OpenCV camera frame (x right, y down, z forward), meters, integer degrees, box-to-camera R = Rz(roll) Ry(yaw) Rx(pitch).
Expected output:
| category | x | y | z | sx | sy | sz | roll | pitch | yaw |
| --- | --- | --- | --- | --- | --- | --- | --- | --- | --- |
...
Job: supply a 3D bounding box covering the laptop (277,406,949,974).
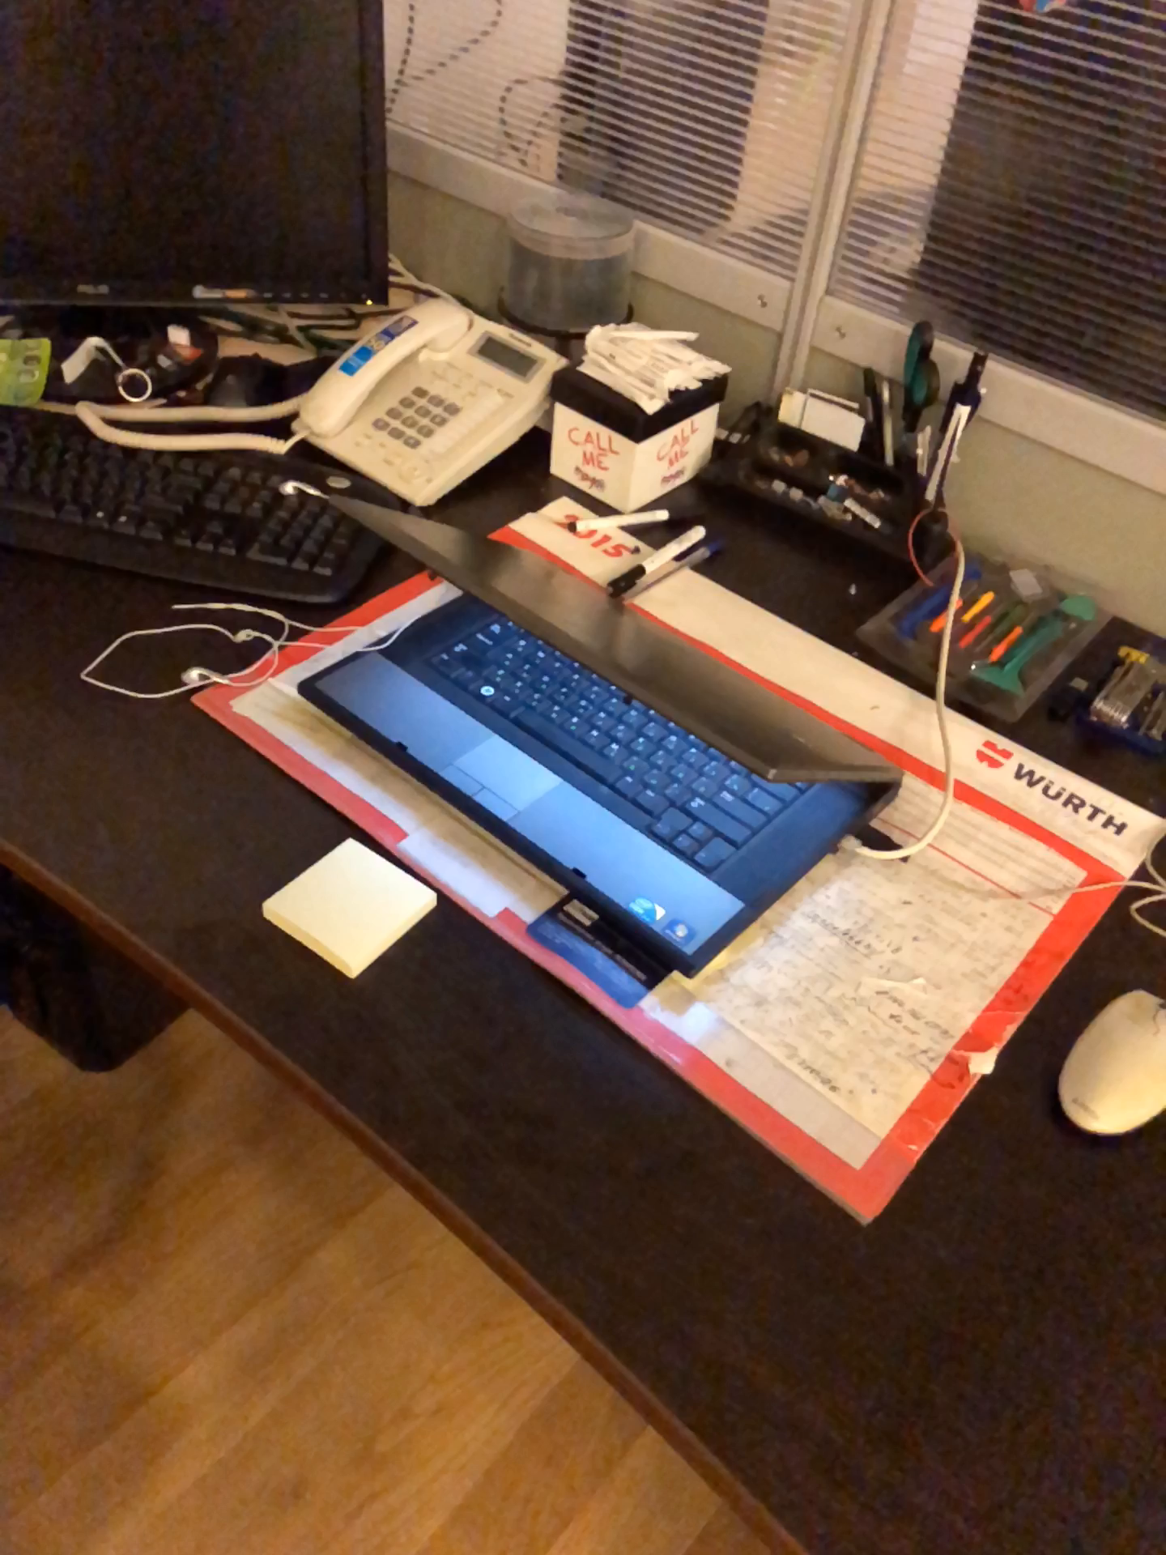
| category | x | y | z | sx | sy | sz | roll | pitch | yaw |
| --- | --- | --- | --- | --- | --- | --- | --- | --- | --- |
| laptop | 0.012 | -0.081 | 0.859 | 0.358 | 0.141 | 0.239 | 34 | 49 | 25 |
